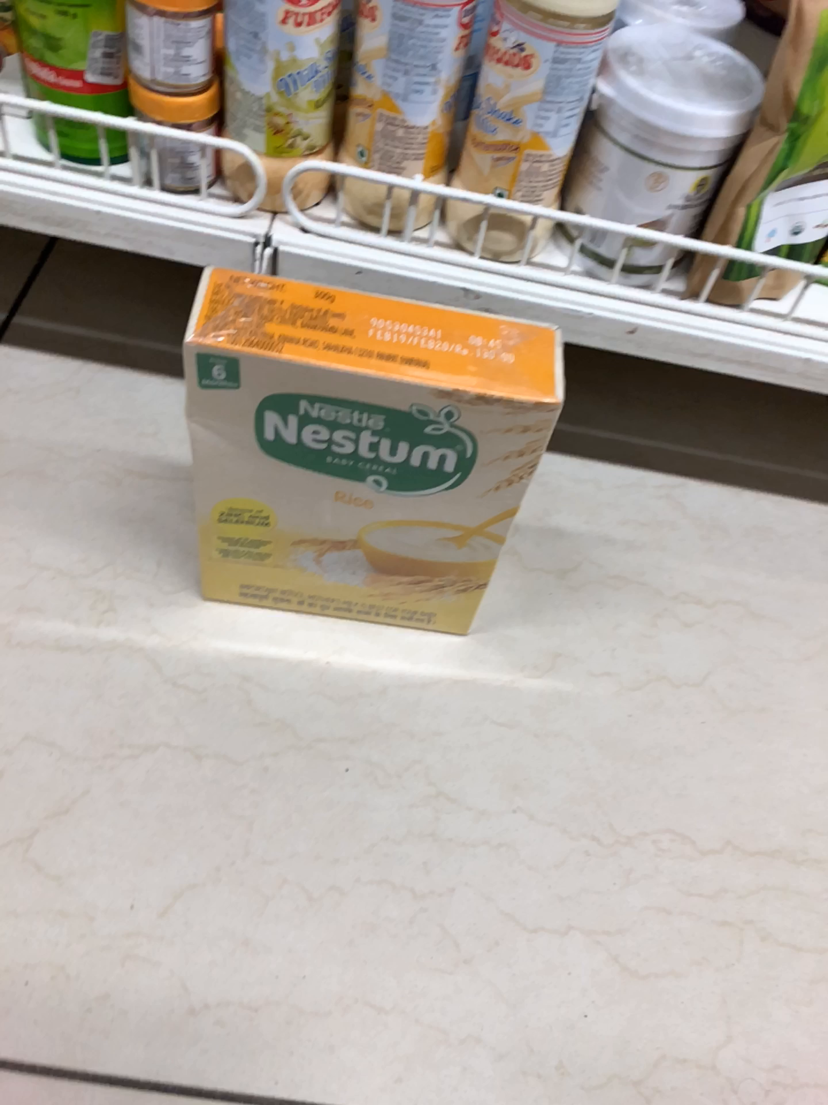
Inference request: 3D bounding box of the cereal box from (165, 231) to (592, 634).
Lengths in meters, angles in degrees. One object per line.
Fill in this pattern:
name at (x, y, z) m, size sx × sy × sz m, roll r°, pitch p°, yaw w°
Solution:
cereal box at (-0.024, -0.041, 0.430) m, size 0.160 × 0.189 × 0.050 m, roll 8°, pitch 54°, yaw -5°
